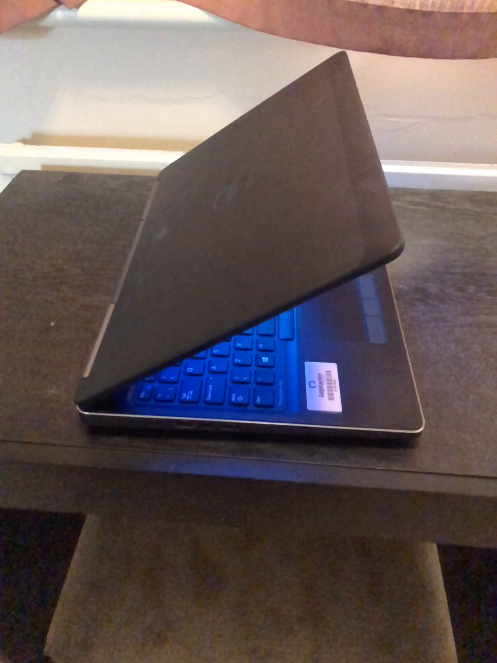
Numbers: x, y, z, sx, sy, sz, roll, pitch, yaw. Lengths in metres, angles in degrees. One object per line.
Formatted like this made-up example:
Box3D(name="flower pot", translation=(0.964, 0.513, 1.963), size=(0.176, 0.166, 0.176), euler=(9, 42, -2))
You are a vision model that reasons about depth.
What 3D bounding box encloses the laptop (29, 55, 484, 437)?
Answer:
Box3D(name="laptop", translation=(0.009, -0.109, 0.473), size=(0.243, 0.134, 0.365), euler=(3, 41, 3))
